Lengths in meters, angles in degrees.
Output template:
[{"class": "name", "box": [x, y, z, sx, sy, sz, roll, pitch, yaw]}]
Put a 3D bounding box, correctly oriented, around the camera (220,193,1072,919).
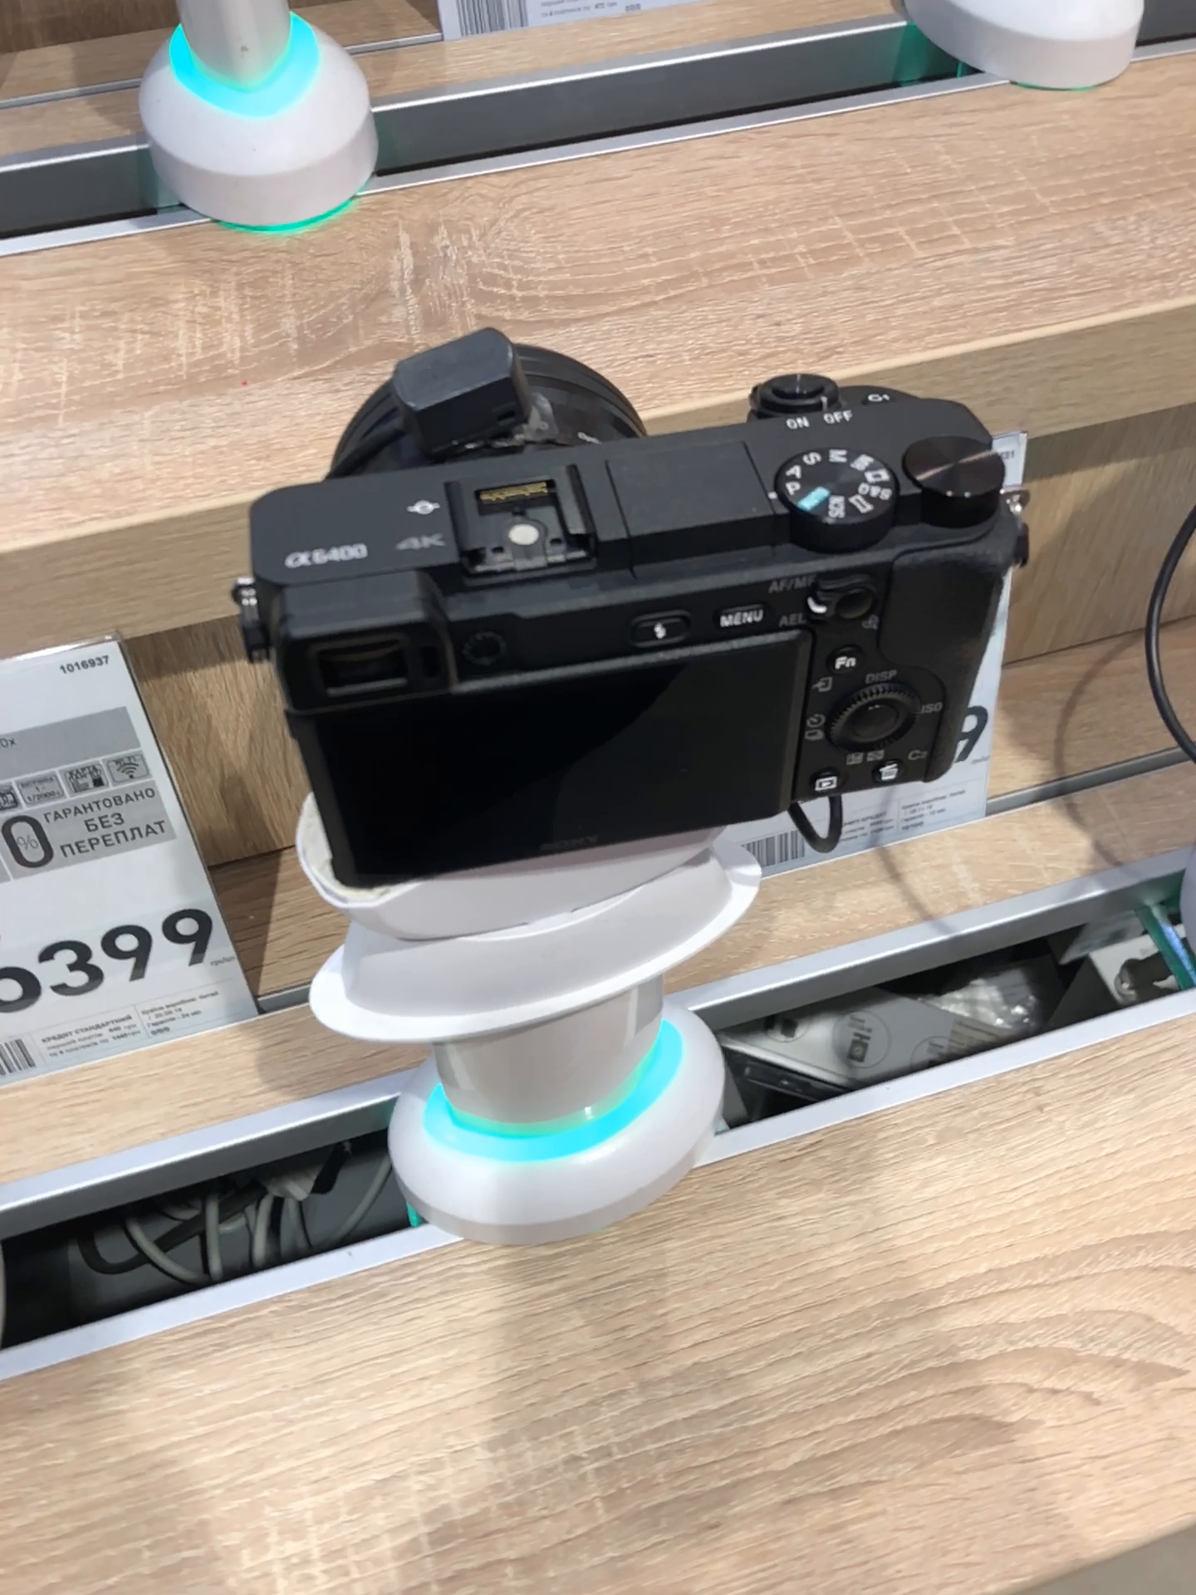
[{"class": "camera", "box": [0.001, -0.048, 0.245, 0.122, 0.069, 0.098, -10, 51, -7]}]
